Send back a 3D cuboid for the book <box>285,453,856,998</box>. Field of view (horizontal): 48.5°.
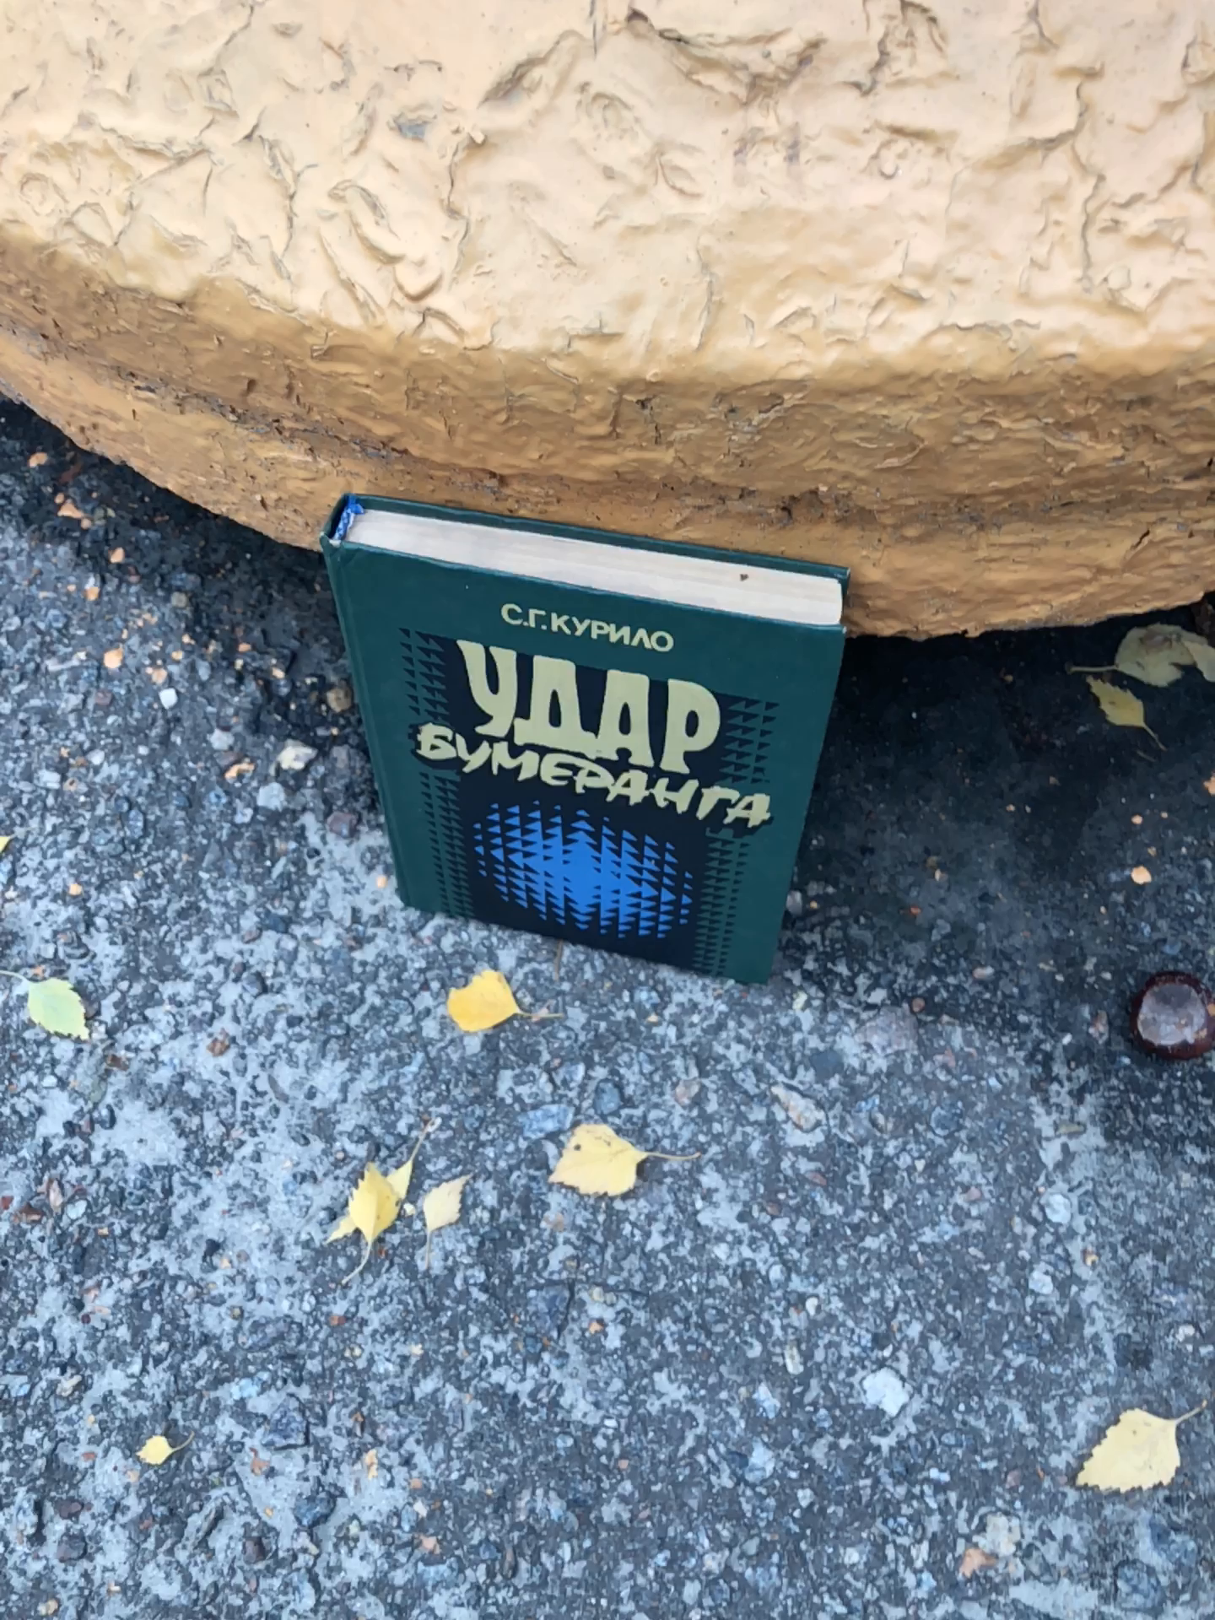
[{"bbox_3d":[-0.005,-0.013,0.388,0.131,0.179,0.029,14,60,13],"label":"book"}]
